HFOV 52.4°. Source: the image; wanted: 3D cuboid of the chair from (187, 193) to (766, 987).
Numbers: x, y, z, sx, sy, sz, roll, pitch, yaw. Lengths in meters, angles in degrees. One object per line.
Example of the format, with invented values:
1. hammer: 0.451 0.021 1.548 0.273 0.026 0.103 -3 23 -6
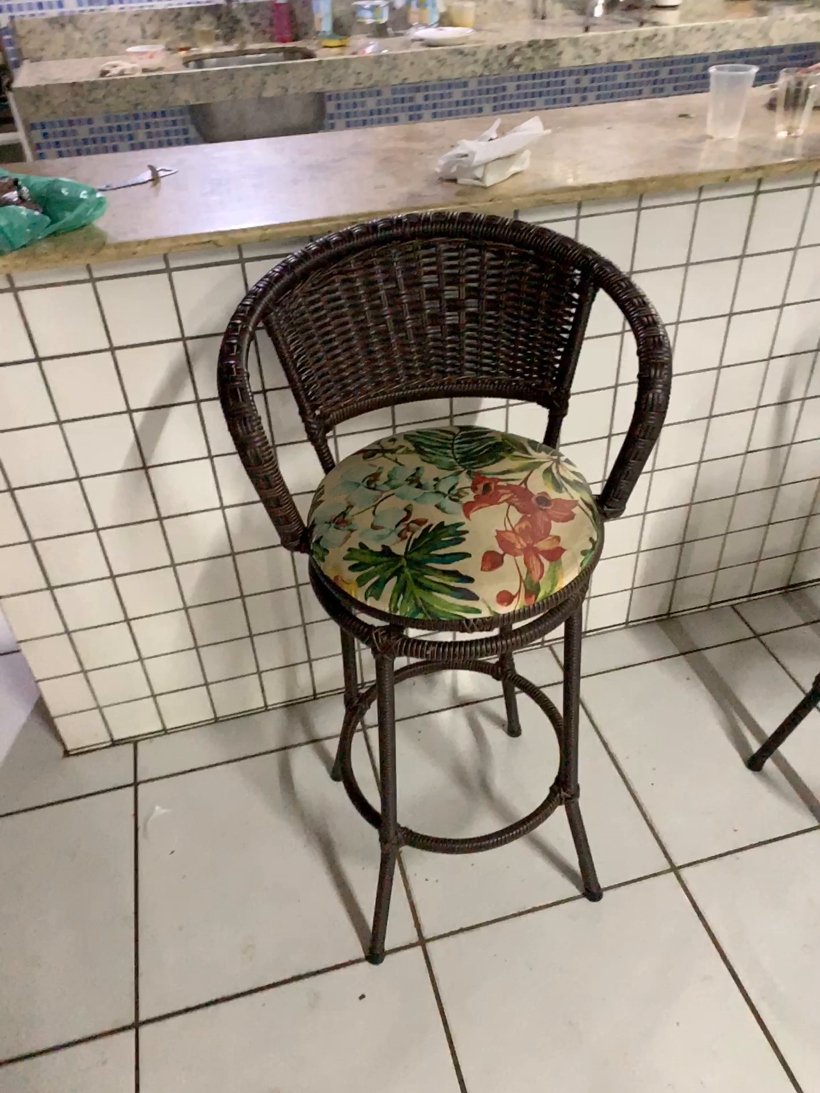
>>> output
1. chair: 0.040 0.087 1.232 0.500 0.974 0.533 -12 39 -11
